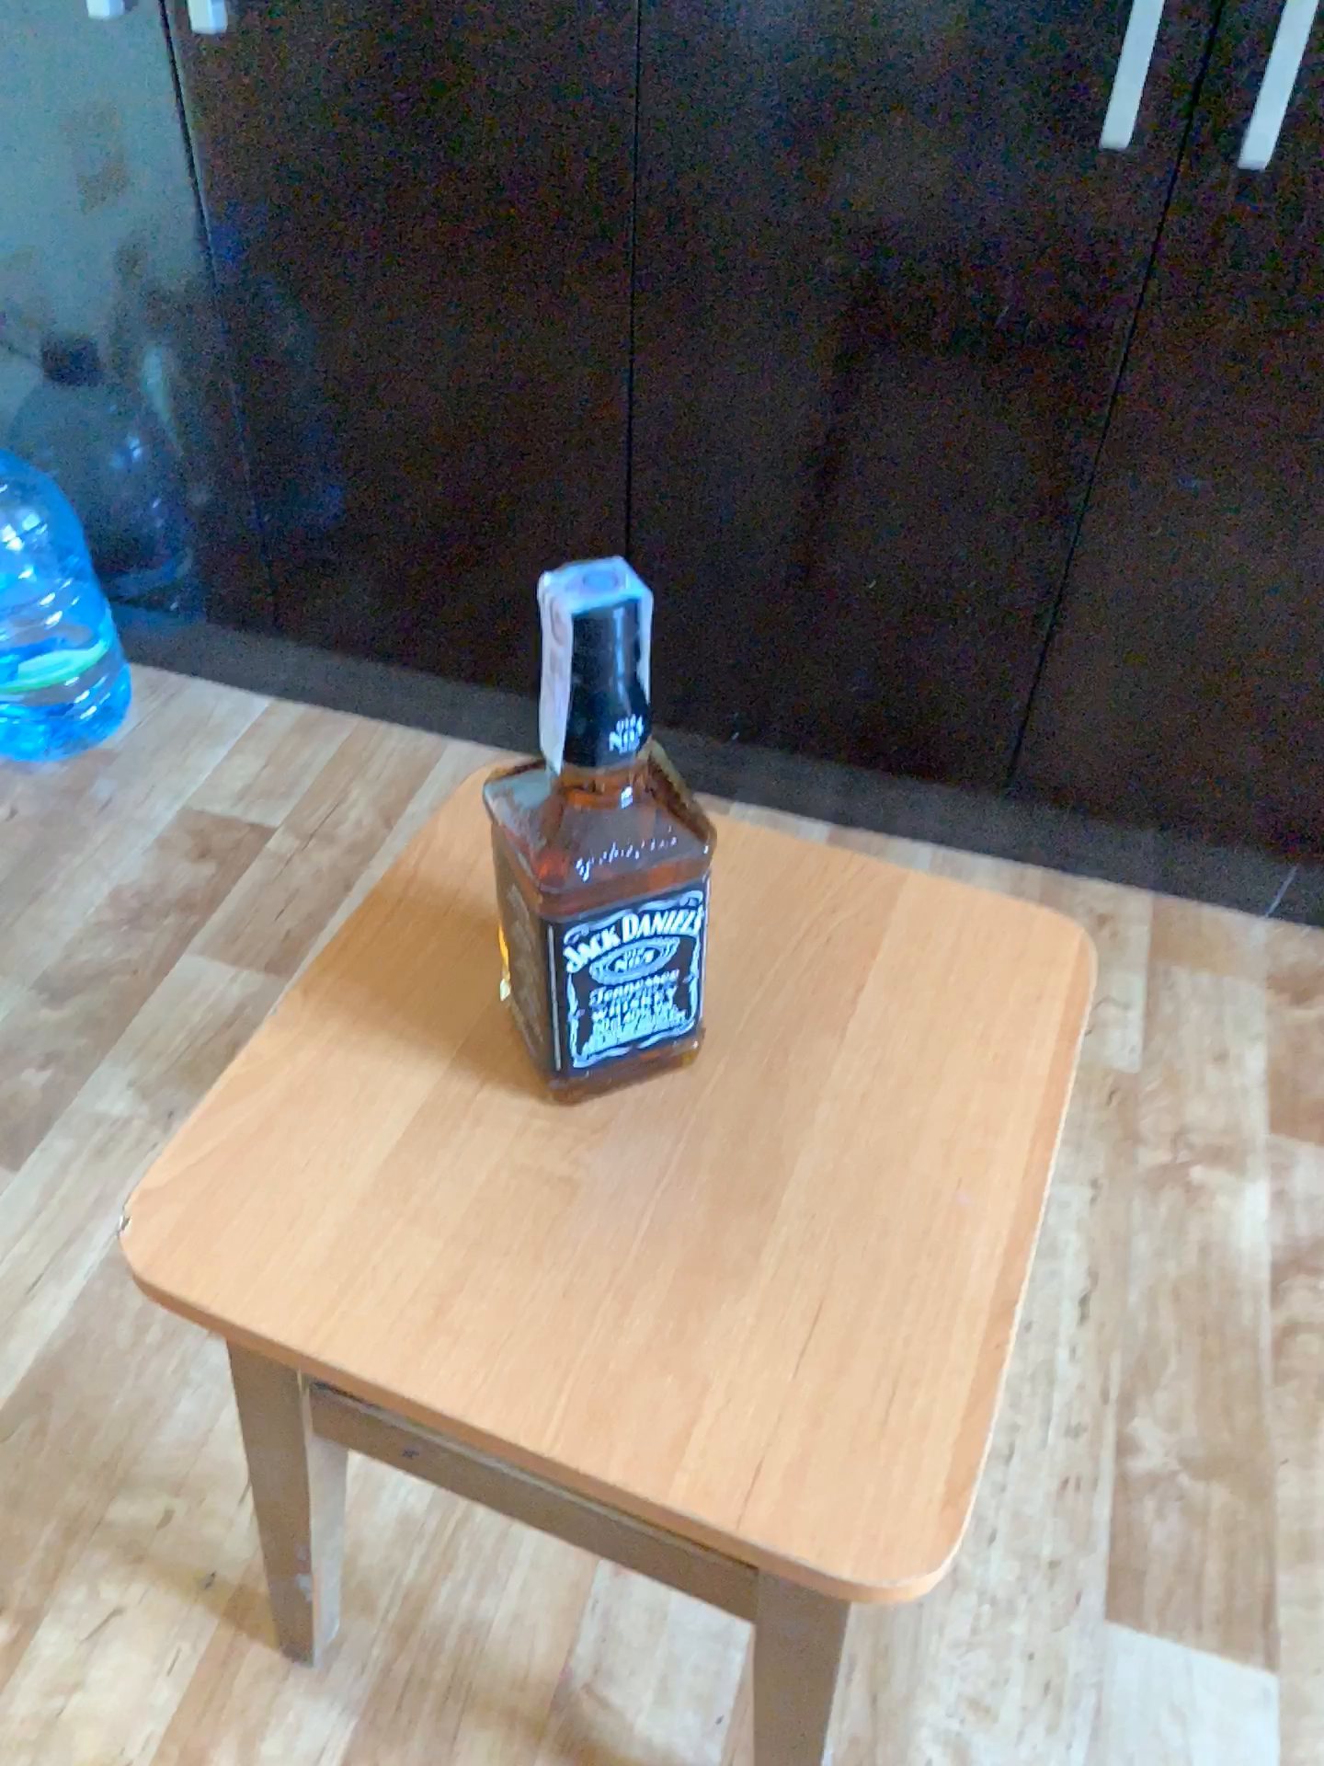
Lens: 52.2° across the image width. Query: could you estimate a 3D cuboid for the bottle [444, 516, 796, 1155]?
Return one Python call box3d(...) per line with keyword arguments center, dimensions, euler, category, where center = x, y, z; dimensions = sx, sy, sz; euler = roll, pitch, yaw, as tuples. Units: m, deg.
box3d(center=(-0.018, -0.009, 0.478), dimensions=(0.080, 0.209, 0.080), euler=(1, 44, -1), category="bottle")
